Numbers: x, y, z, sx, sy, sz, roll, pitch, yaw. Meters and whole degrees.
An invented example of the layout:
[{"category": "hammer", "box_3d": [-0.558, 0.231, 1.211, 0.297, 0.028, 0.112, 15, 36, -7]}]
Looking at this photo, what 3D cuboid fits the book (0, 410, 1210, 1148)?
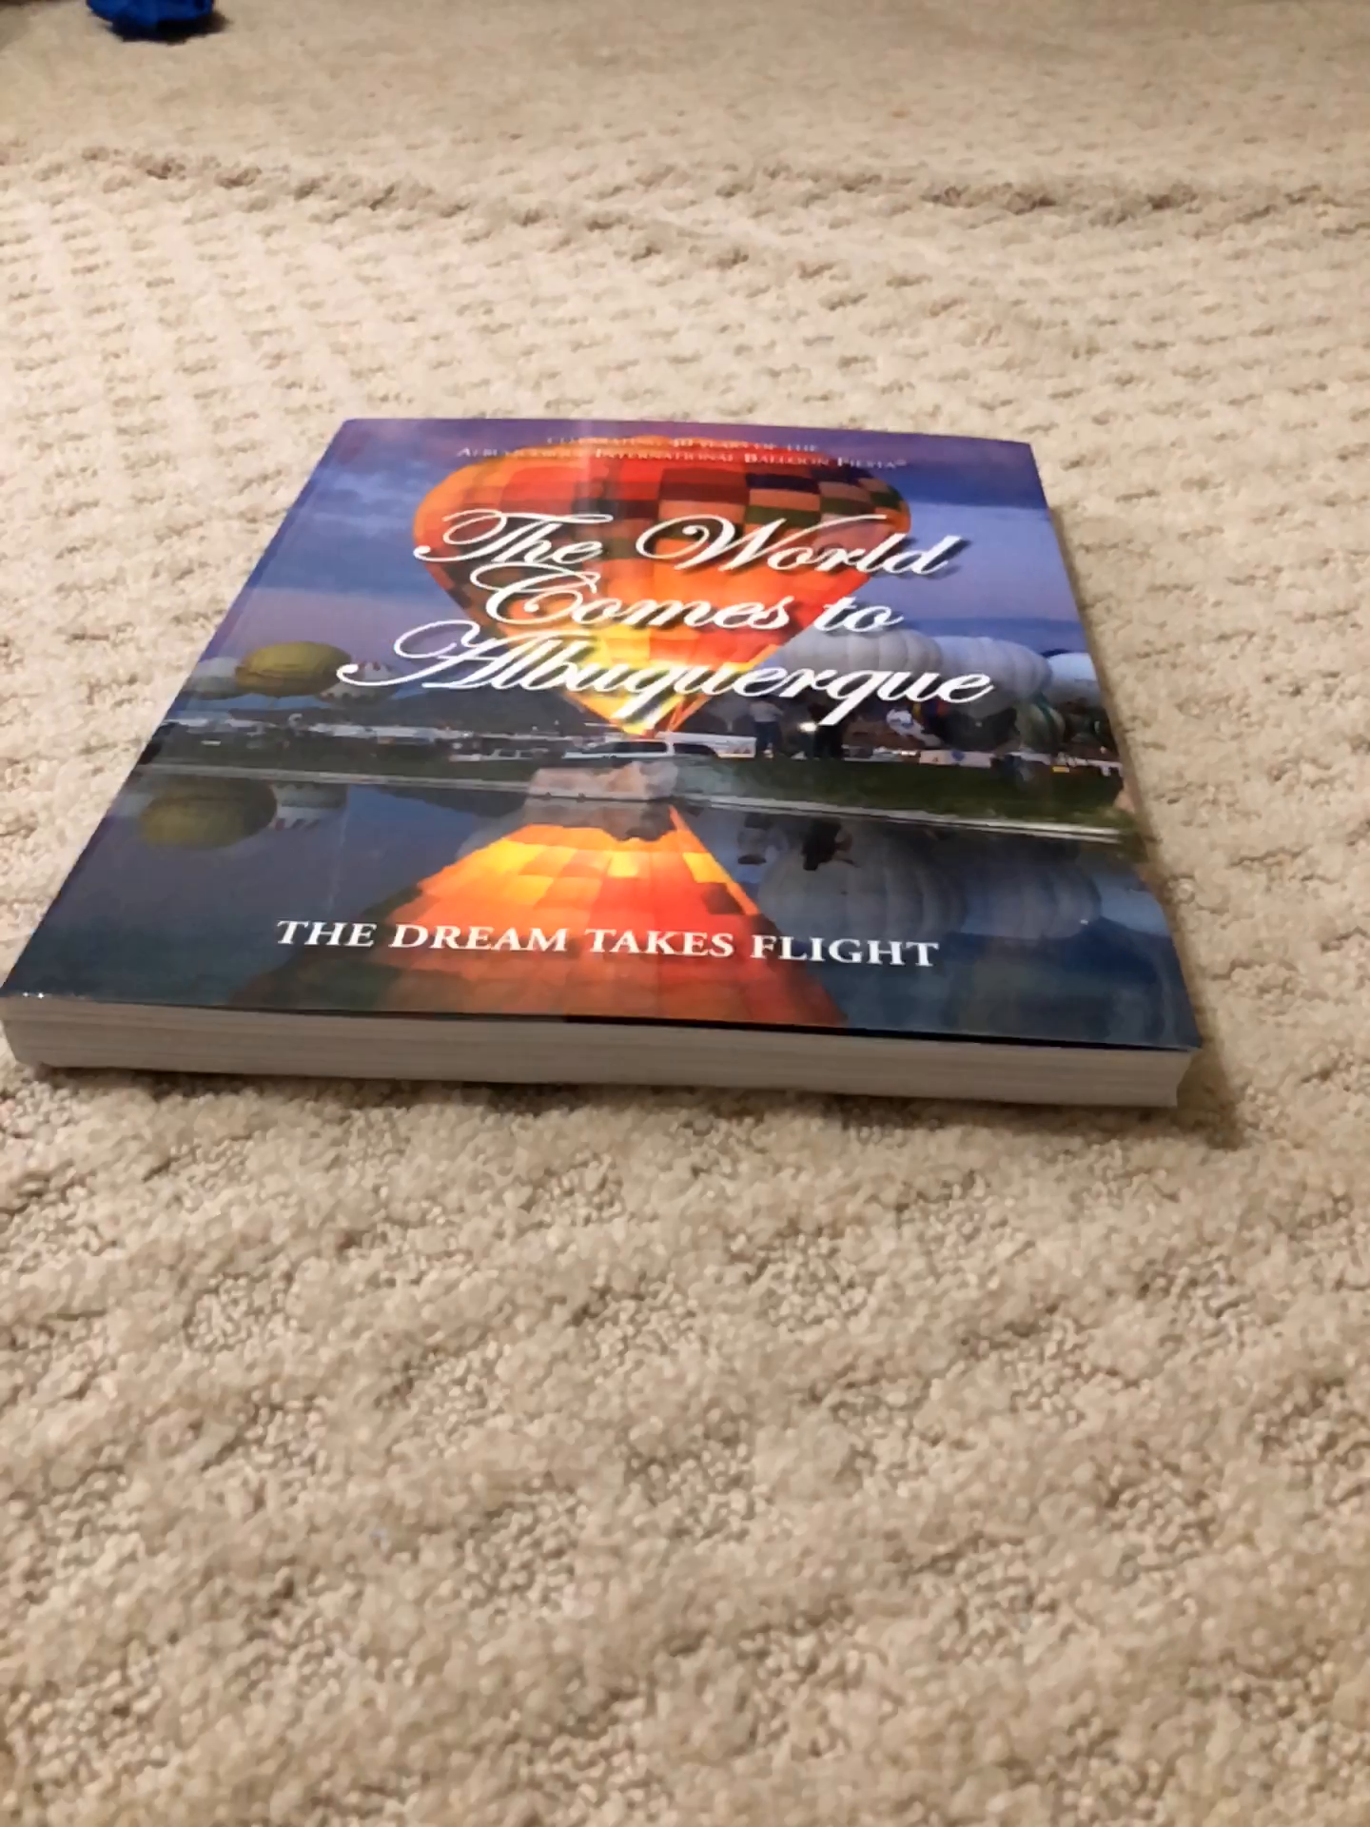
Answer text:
[{"category": "book", "box_3d": [-0.010, -0.055, 0.354, 0.204, 0.023, 0.259, 2, 39, 3]}]
